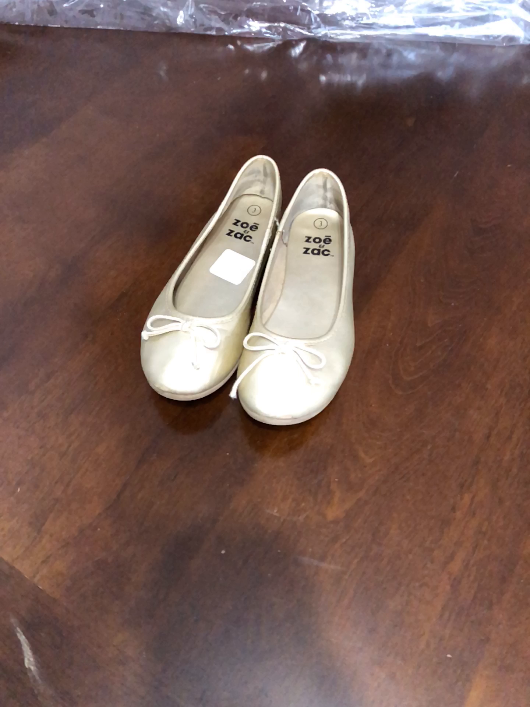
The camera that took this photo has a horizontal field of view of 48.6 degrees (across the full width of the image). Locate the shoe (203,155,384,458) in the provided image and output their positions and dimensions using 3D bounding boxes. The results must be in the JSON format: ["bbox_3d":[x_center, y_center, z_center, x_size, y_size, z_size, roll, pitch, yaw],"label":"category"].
[{"bbox_3d":[0.030,-0.047,0.460,0.090,0.070,0.230,11,58,7],"label":"shoe"}]

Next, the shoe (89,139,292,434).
[{"bbox_3d":[-0.046,-0.062,0.464,0.080,0.070,0.230,12,58,8],"label":"shoe"}]
